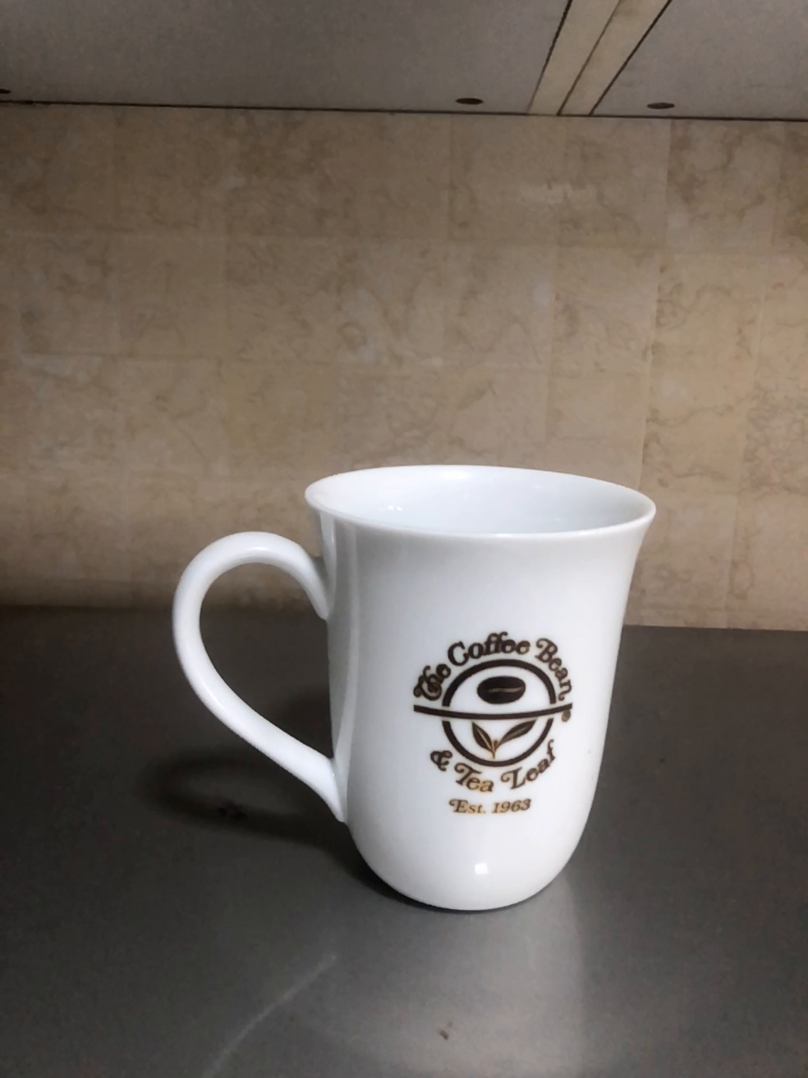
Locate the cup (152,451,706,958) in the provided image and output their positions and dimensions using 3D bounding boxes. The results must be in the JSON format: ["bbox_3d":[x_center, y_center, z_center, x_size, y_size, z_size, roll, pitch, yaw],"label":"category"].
[{"bbox_3d":[-0.001,0.036,0.261,0.130,0.110,0.090,-1,14,-11],"label":"cup"}]
